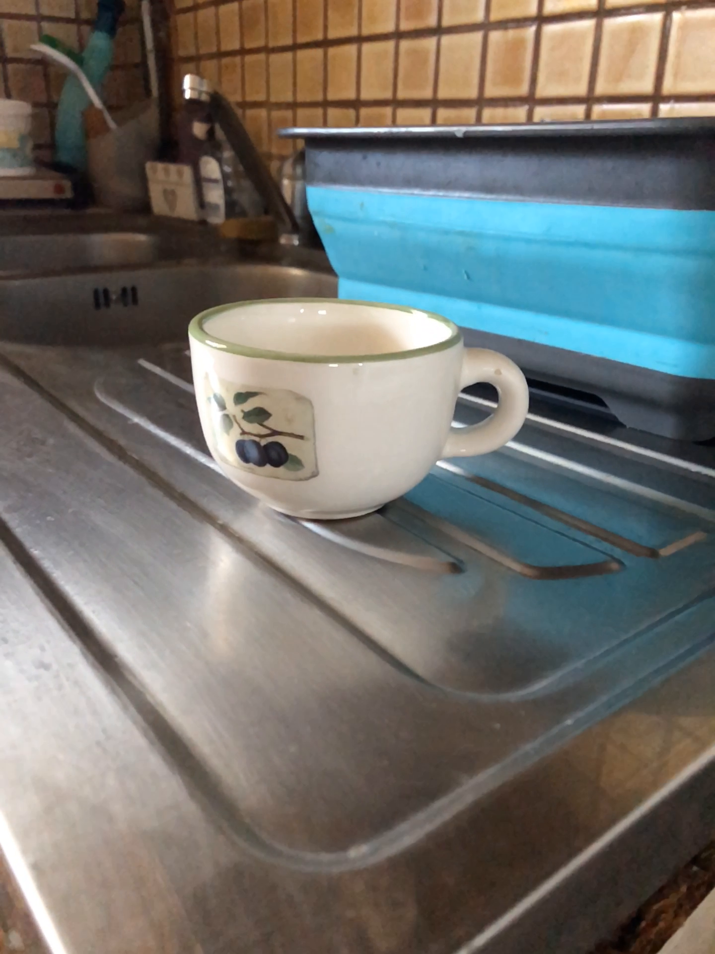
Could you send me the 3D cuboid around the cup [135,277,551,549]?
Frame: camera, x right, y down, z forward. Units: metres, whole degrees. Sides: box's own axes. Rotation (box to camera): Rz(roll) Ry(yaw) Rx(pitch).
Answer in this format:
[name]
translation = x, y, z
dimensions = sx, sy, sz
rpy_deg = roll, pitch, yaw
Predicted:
[cup]
translation = -0.002, -0.027, 0.262
dimensions = 0.110, 0.060, 0.090
rpy_deg = 2, 23, 3
